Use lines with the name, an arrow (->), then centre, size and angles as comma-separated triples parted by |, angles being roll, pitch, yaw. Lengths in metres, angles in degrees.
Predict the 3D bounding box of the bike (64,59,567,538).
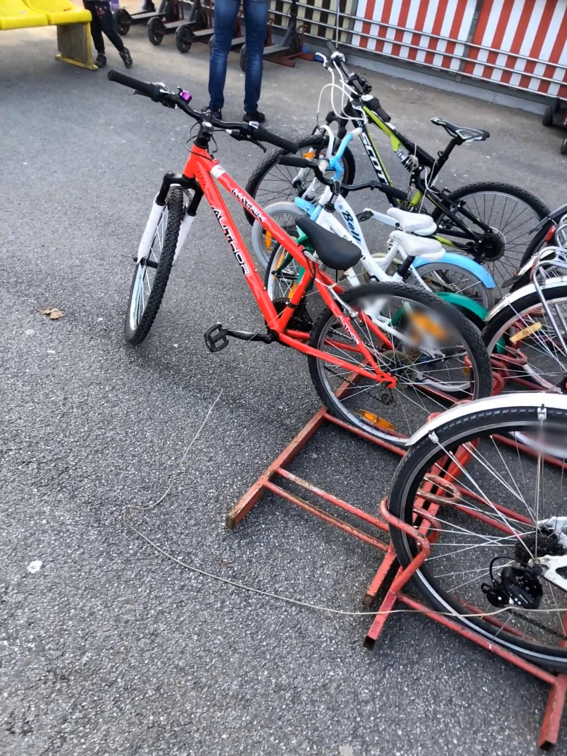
bike -> 0.010, -0.347, 1.972 | 1.447, 0.908, 0.553 | 30, 43, 27
